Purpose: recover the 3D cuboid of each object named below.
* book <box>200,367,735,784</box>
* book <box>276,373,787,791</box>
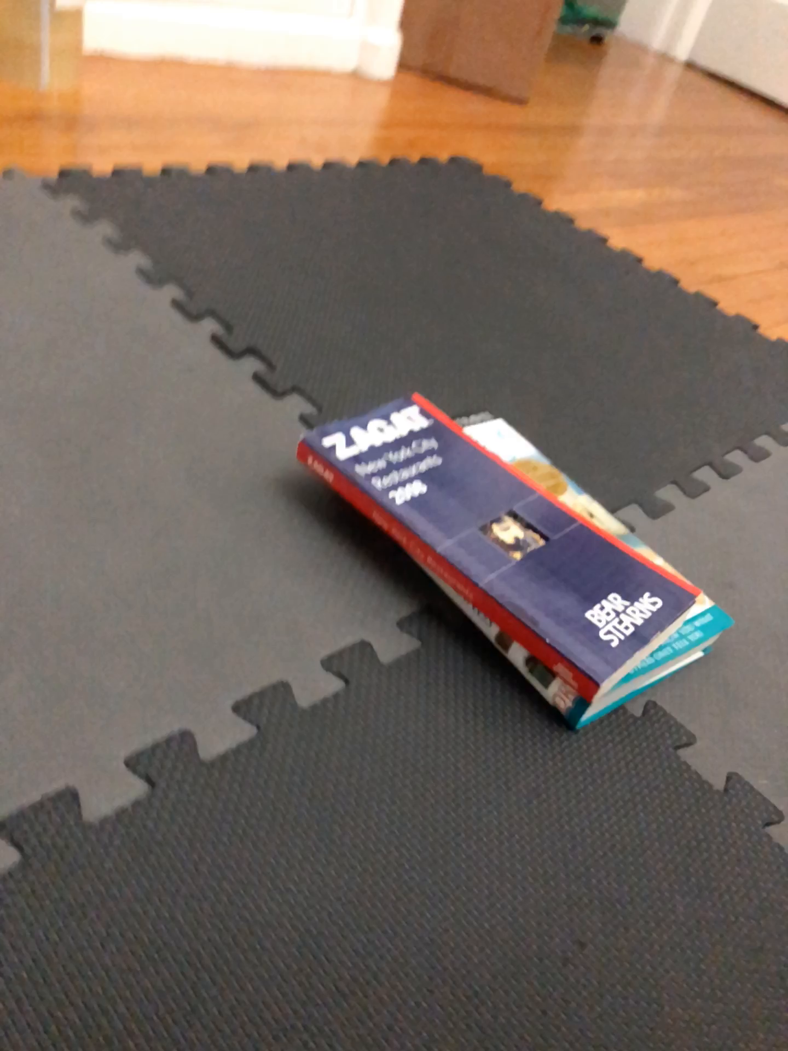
[{"bbox_3d":[0.038,0.004,0.461,0.250,0.020,0.151,38,42,23],"label":"book"},{"bbox_3d":[0.077,0.007,0.502,0.171,0.030,0.261,-19,52,-38],"label":"book"}]
